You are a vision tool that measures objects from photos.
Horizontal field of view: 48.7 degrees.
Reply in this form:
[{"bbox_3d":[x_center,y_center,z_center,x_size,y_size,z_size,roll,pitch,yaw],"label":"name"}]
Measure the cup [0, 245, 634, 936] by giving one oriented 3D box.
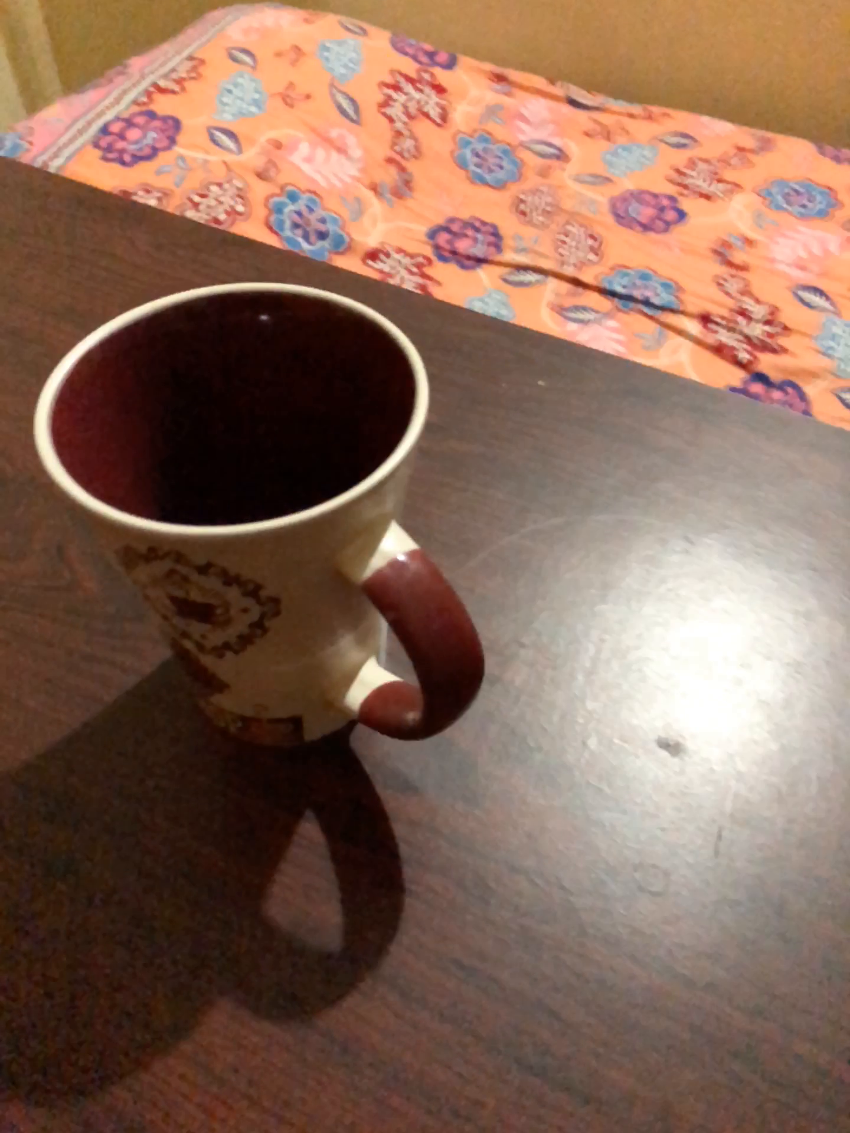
[{"bbox_3d":[-0.032,0.001,0.250,0.100,0.099,0.120,-34,57,-26],"label":"cup"}]
